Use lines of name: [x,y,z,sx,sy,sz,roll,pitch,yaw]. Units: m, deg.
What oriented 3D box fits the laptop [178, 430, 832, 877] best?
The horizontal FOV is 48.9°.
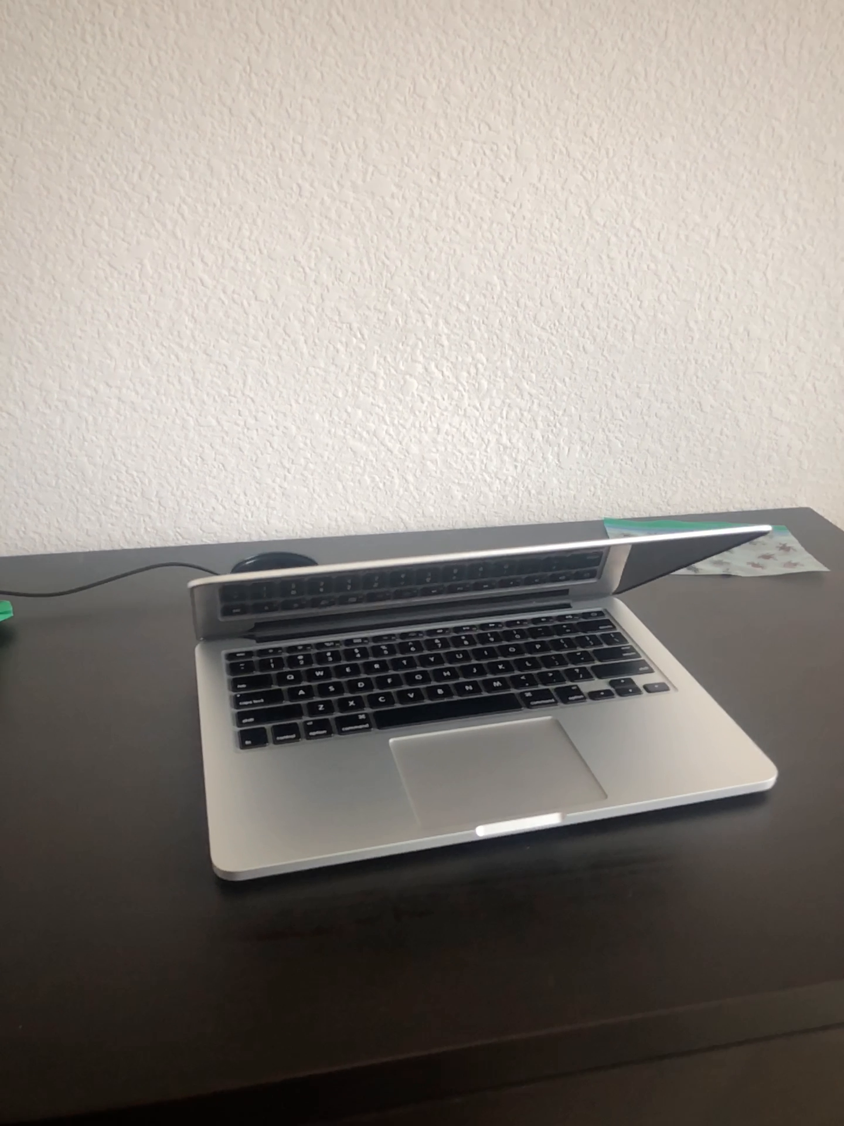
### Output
laptop: [0.023,0.027,0.545,0.309,0.133,0.225,-5,26,-14]
